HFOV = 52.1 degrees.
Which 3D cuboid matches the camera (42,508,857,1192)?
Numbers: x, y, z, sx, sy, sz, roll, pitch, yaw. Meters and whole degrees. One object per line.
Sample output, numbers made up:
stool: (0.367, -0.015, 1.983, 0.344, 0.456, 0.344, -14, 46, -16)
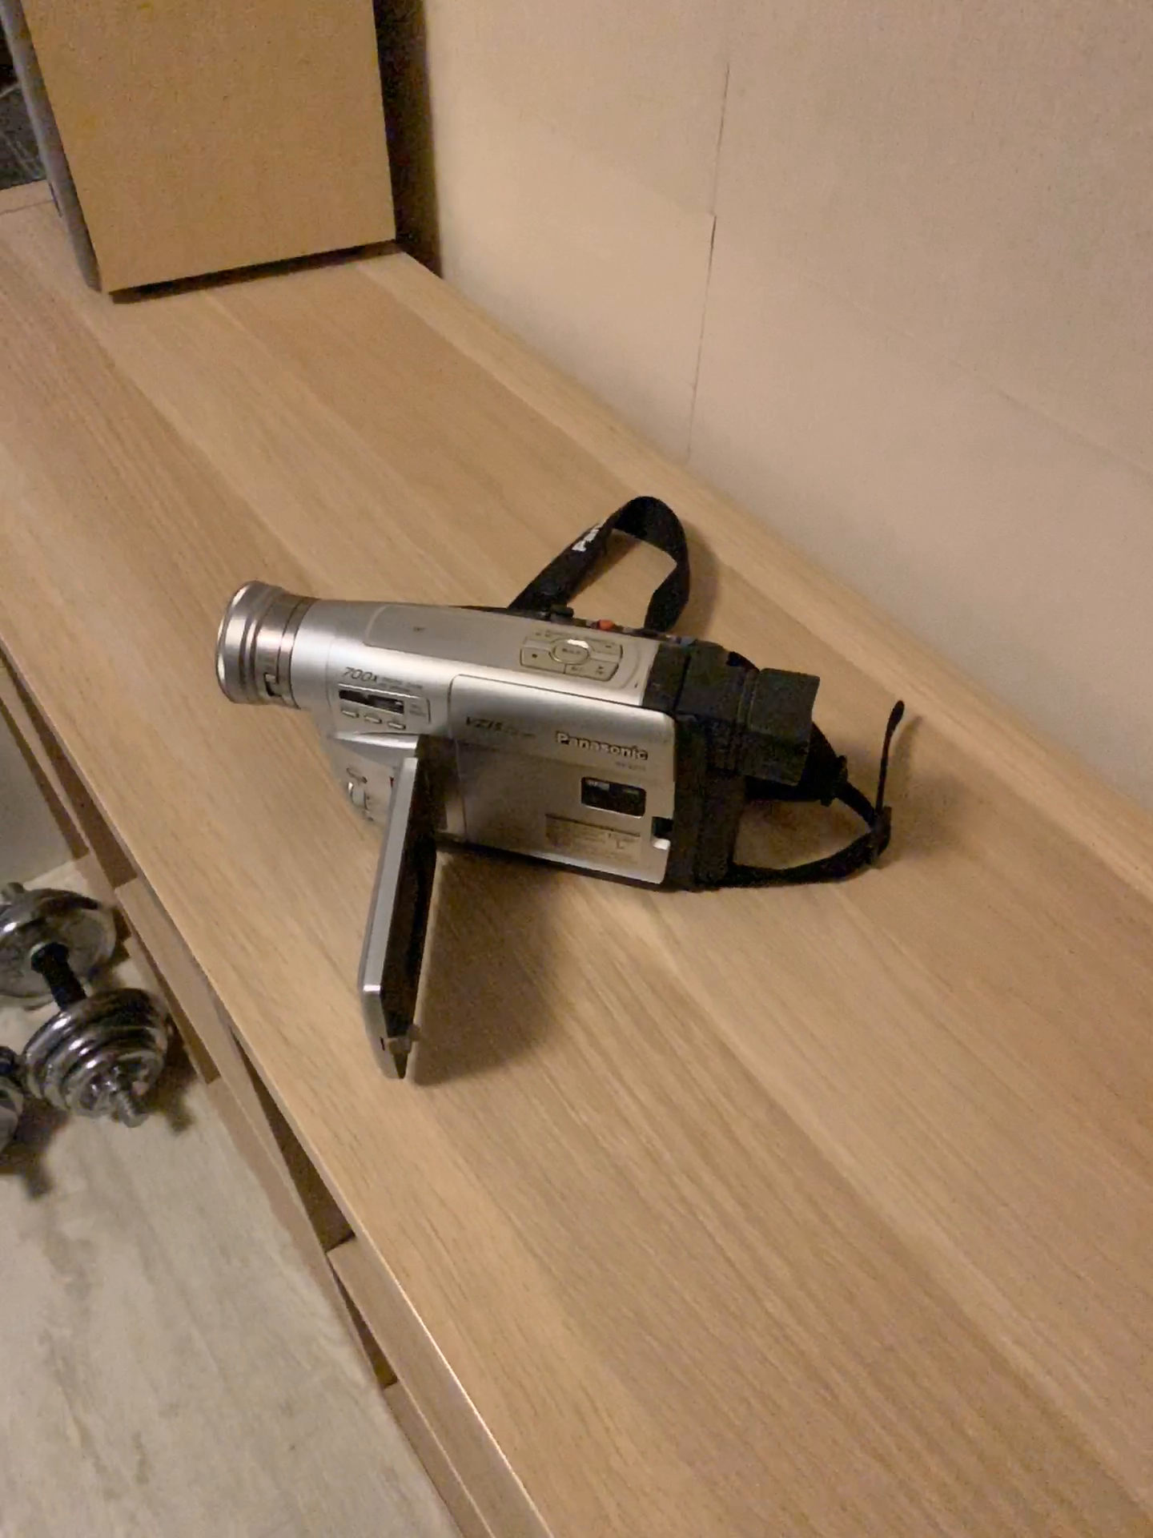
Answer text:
camera: (-0.030, 0.020, 0.469, 0.246, 0.109, 0.204, 11, 49, 8)
